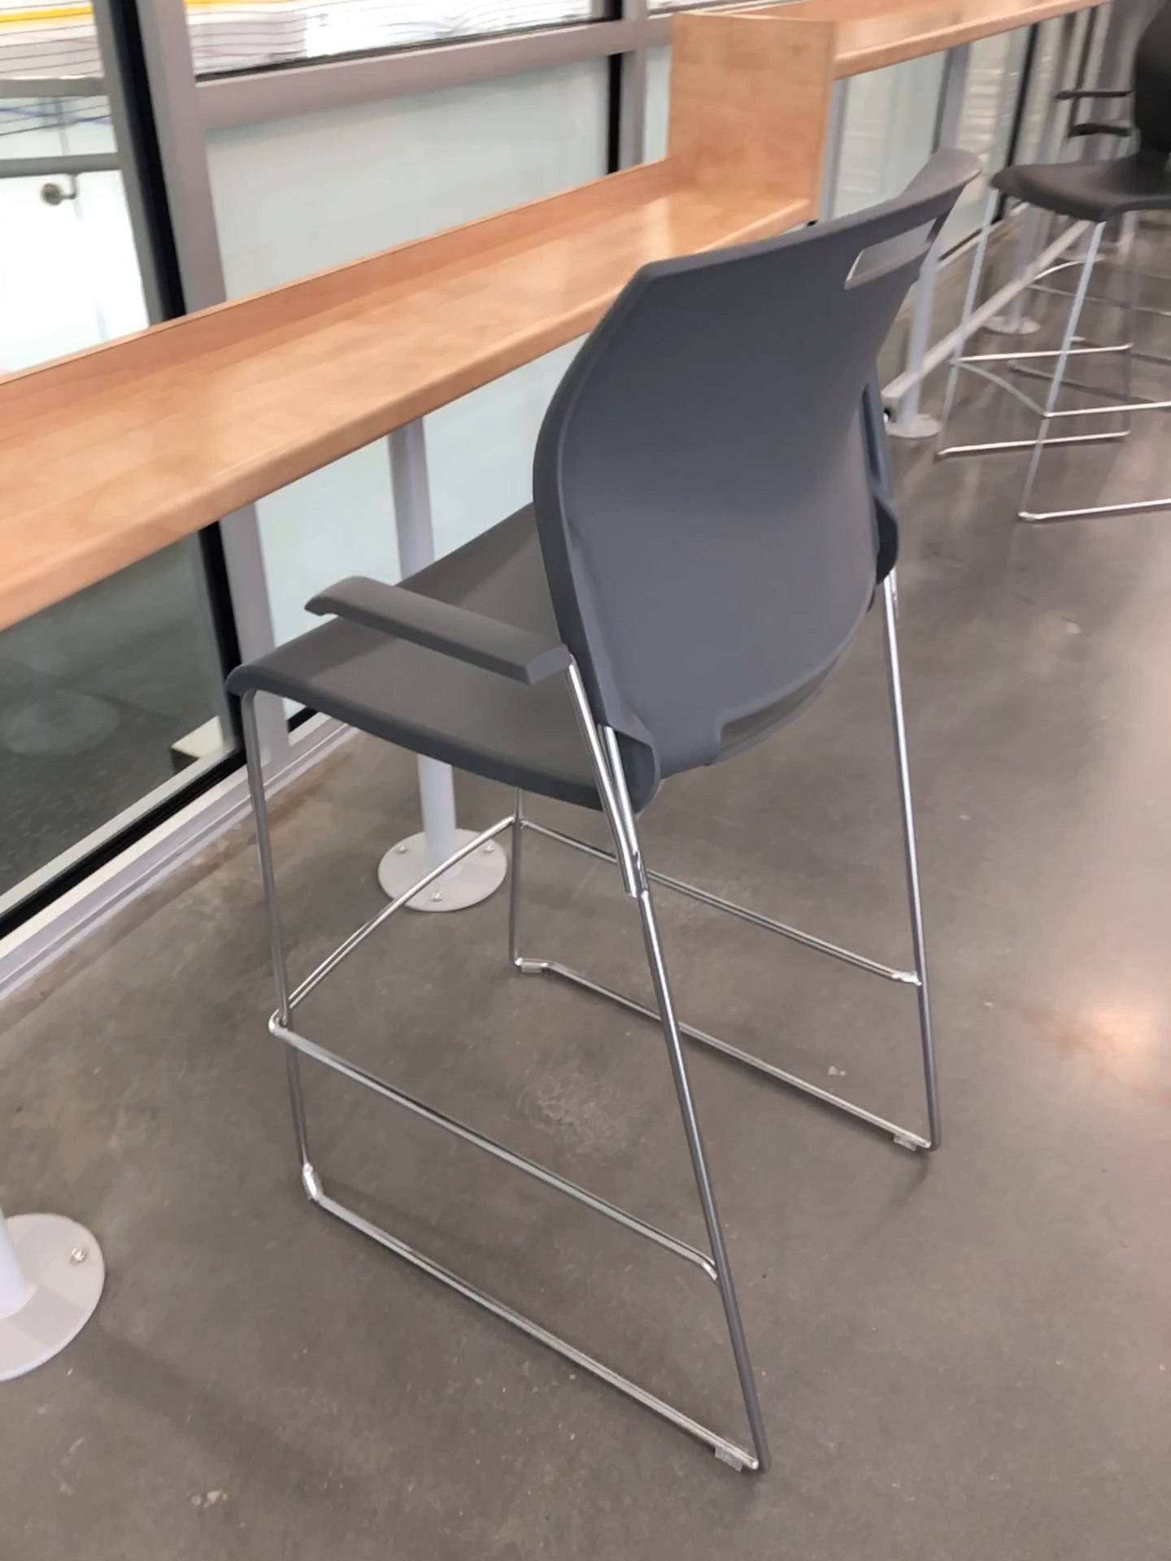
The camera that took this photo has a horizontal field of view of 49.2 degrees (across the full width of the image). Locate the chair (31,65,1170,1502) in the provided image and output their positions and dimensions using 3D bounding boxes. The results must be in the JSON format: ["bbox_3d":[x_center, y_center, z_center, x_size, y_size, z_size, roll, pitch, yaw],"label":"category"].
[{"bbox_3d":[0.059,-0.026,1.226,0.661,1.072,0.603,19,38,24],"label":"chair"}]
